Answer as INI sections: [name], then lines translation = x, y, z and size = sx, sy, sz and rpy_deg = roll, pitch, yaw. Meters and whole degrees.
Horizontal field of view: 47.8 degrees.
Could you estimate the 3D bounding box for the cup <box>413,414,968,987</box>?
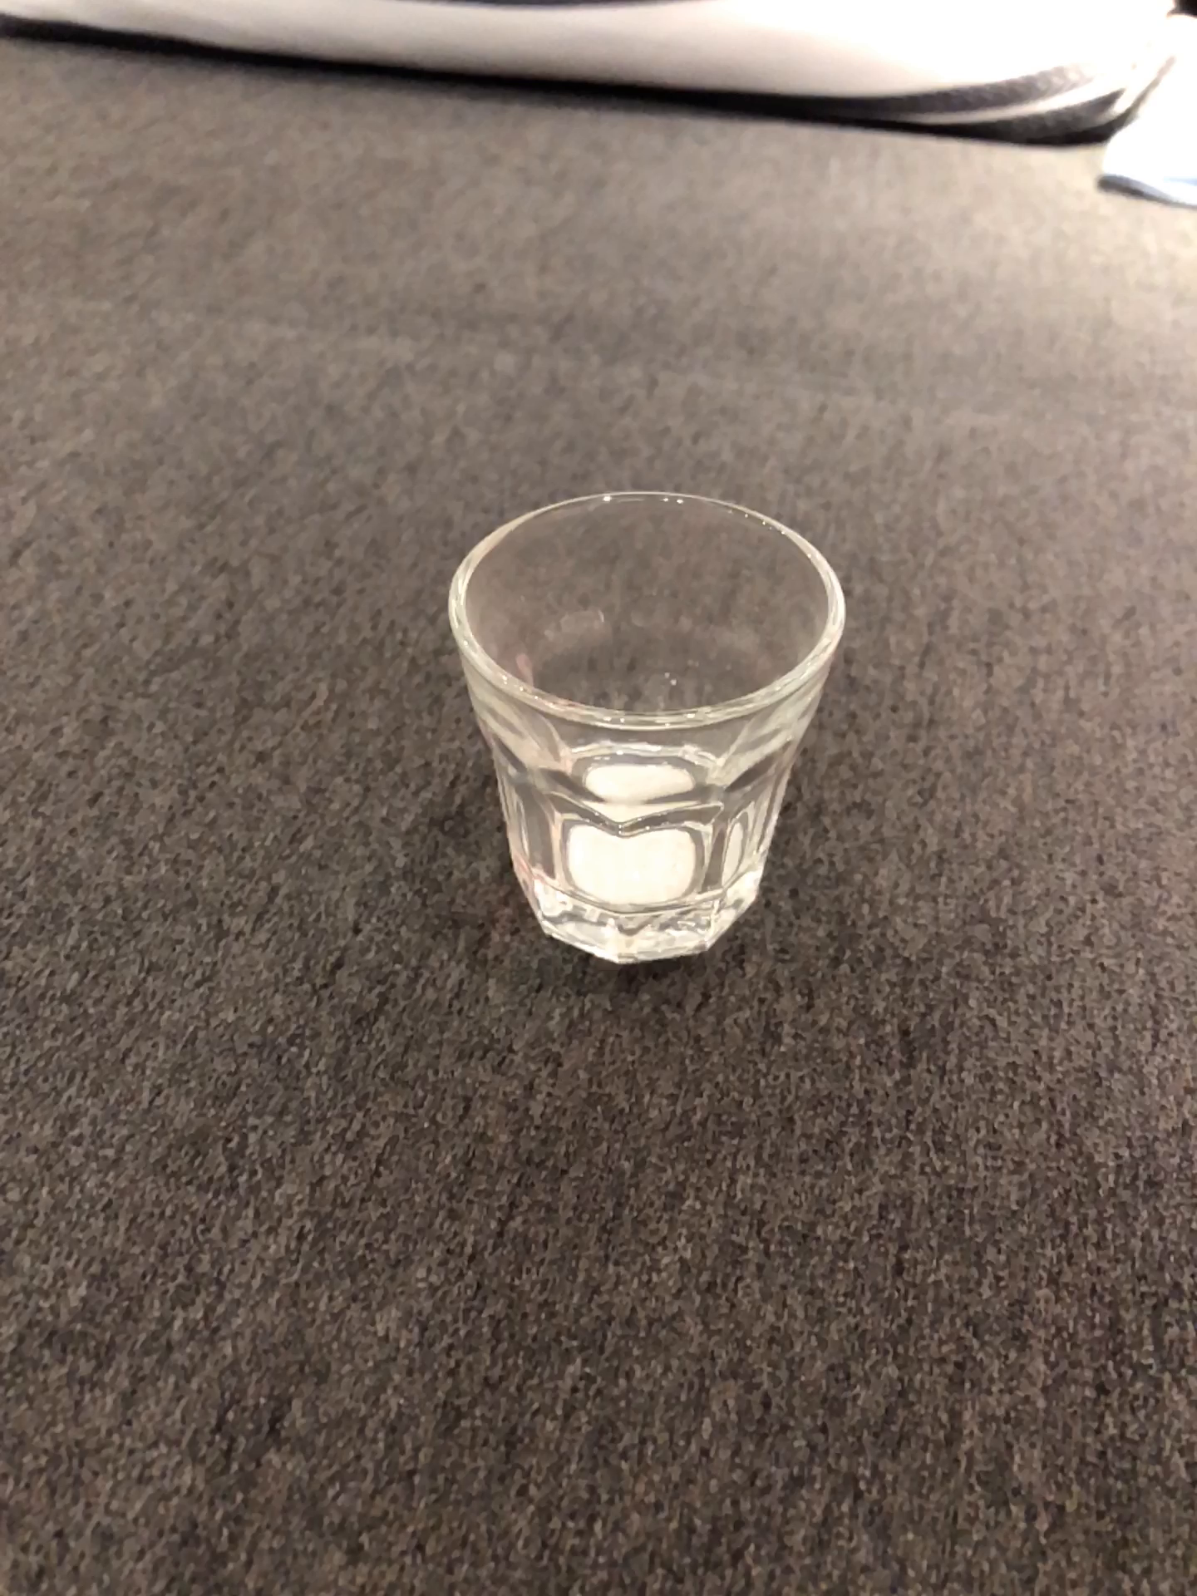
[cup]
translation = 0.008, -0.016, 0.191
size = 0.060, 0.050, 0.060
rpy_deg = 1, 41, -1
